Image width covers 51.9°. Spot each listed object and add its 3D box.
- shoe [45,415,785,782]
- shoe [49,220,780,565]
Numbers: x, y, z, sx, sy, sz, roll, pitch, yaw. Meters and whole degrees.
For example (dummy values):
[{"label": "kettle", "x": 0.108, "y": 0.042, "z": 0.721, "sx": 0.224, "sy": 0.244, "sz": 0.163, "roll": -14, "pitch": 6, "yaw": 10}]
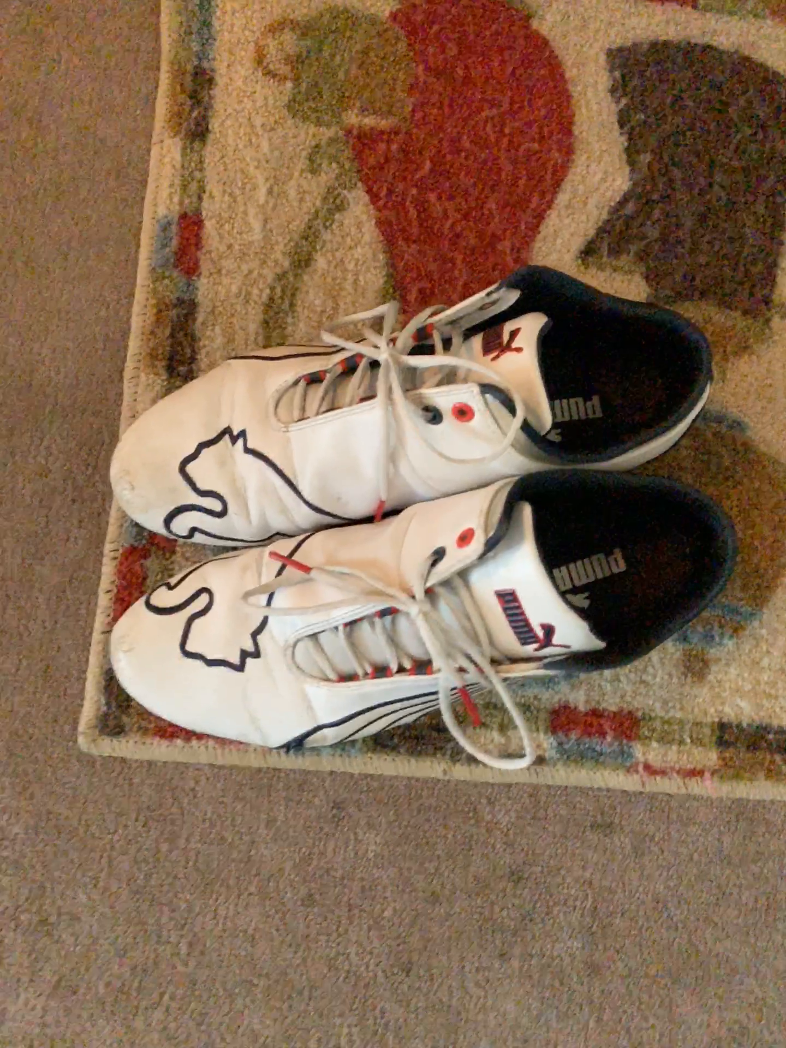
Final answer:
[{"label": "shoe", "x": 0.013, "y": 0.032, "z": 0.367, "sx": 0.290, "sy": 0.100, "sz": 0.100, "roll": -8, "pitch": 81, "yaw": -8}, {"label": "shoe", "x": 0.009, "y": -0.058, "z": 0.376, "sx": 0.290, "sy": 0.090, "sz": 0.100, "roll": -8, "pitch": 81, "yaw": -8}]
